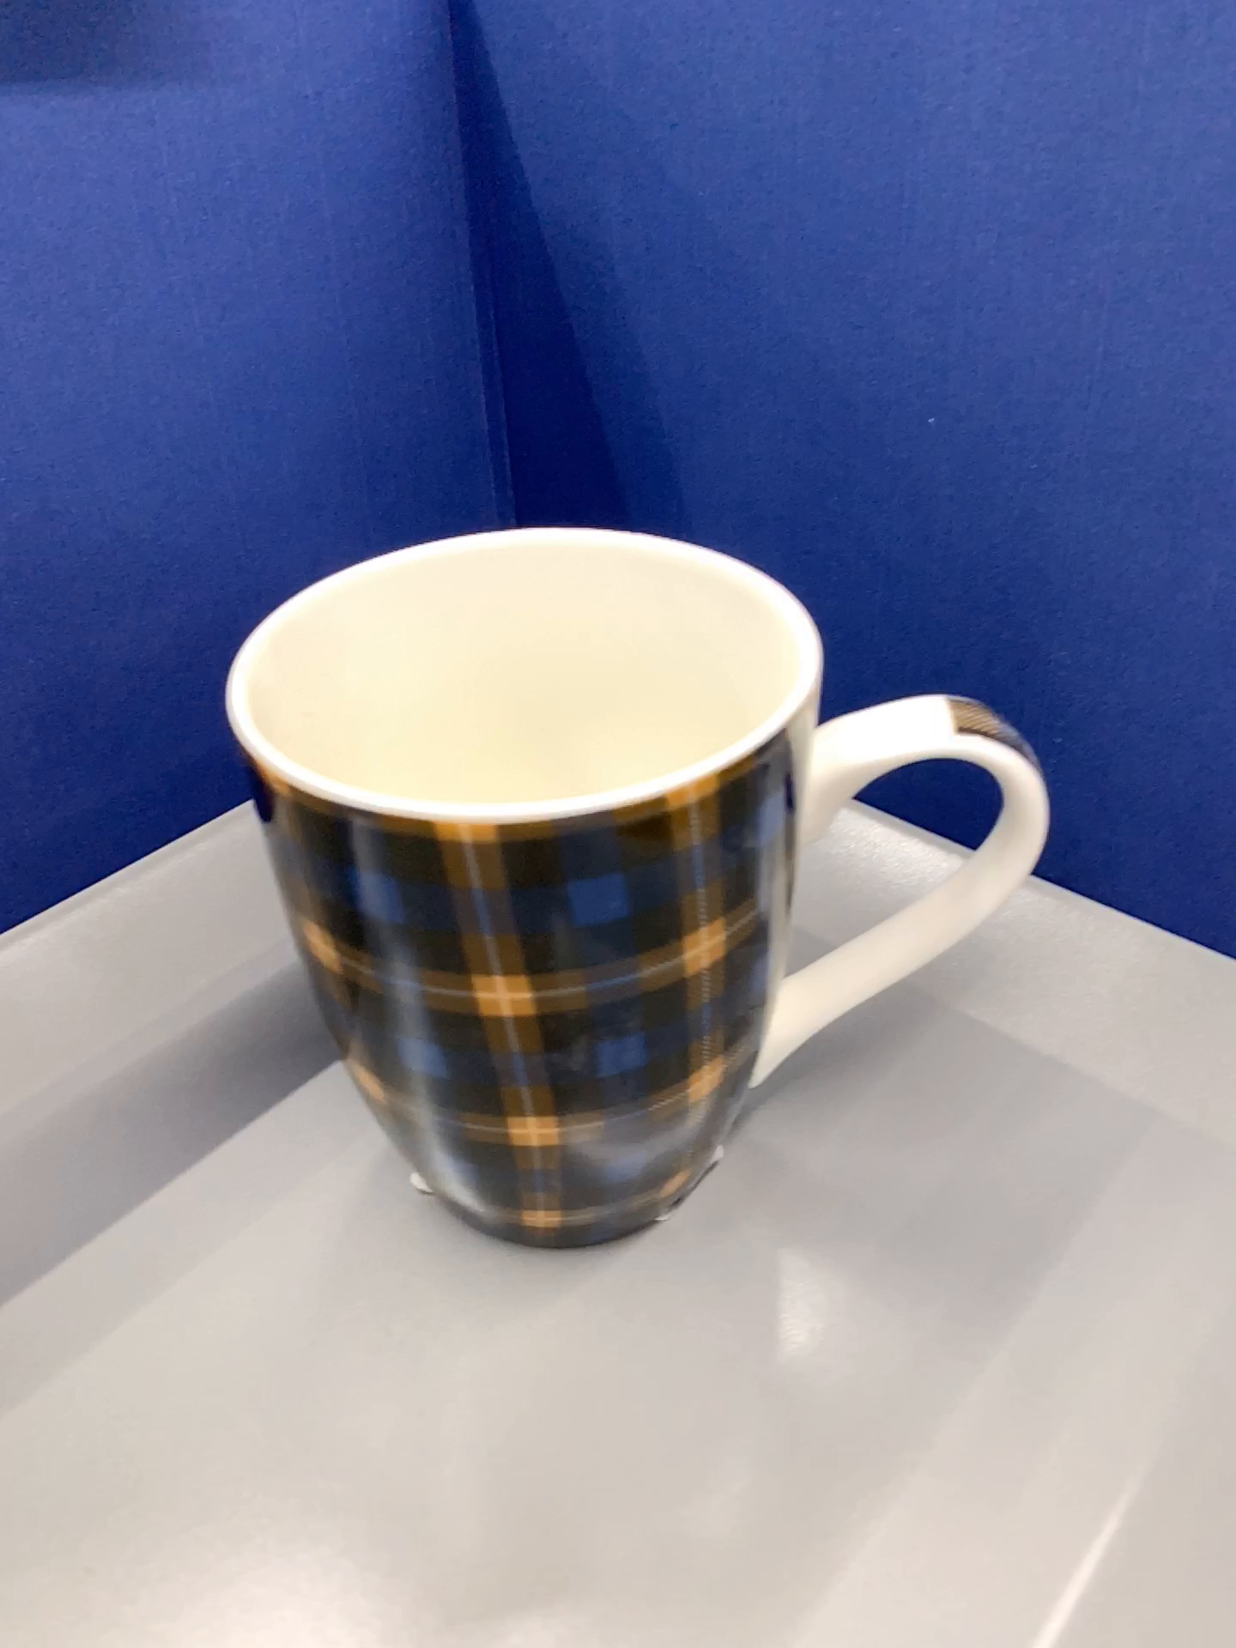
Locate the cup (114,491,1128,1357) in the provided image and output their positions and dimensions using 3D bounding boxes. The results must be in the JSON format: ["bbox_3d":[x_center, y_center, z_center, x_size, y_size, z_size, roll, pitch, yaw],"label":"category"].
[{"bbox_3d":[-0.003,0.009,0.214,0.121,0.089,0.095,-8,34,-7],"label":"cup"}]
